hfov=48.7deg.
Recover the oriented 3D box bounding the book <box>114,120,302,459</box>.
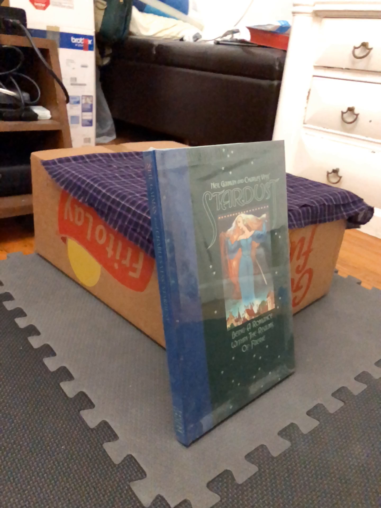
[{"bbox_3d":[0.041,0.023,0.485,0.221,0.329,0.050,-18,18,-41],"label":"book"}]
